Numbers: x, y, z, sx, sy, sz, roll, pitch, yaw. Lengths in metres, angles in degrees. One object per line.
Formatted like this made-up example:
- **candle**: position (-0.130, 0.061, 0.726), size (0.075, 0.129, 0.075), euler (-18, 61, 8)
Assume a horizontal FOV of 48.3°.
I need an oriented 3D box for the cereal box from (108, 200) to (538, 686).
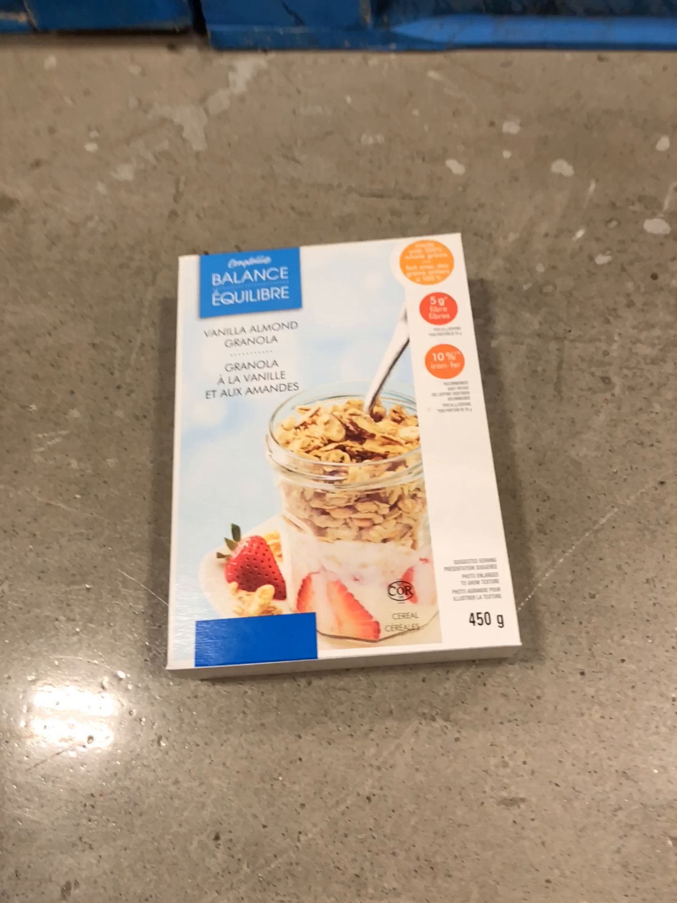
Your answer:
- **cereal box**: position (-0.014, -0.010, 0.398), size (0.190, 0.050, 0.240), euler (-5, 69, 2)
